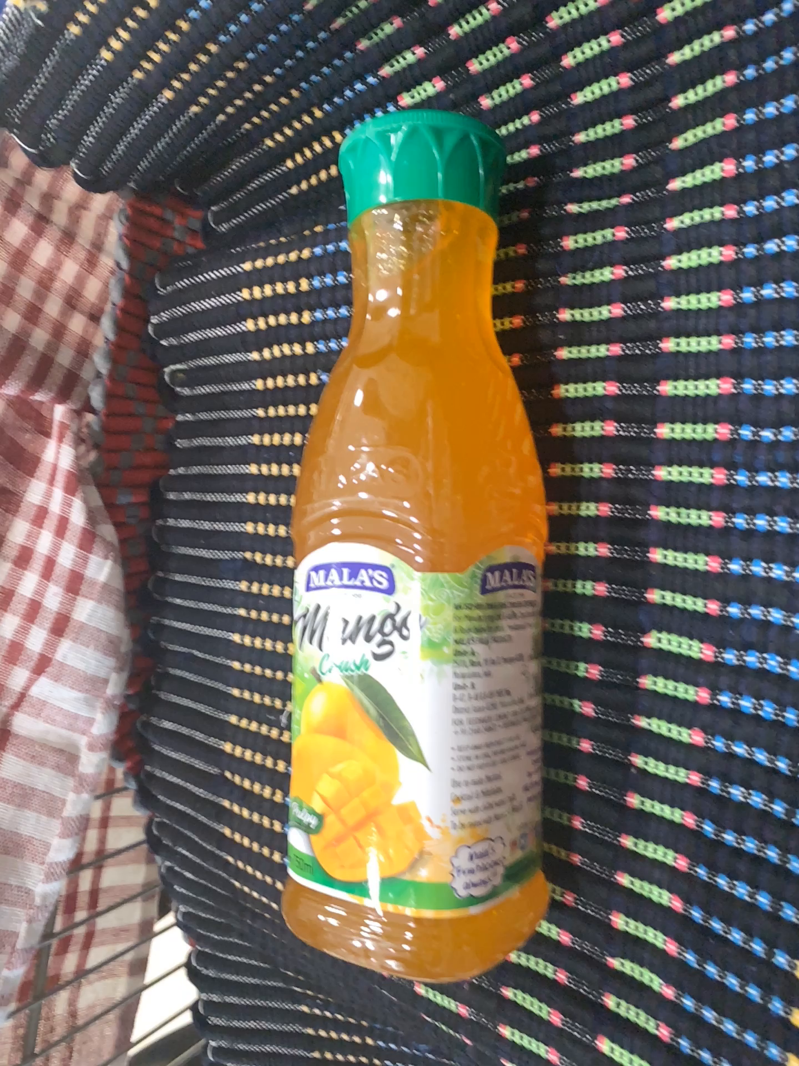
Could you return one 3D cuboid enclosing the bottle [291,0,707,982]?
[{"bbox_3d":[0.035,-0.019,0.247,0.080,0.090,0.240,0,85,37],"label":"bottle"}]
